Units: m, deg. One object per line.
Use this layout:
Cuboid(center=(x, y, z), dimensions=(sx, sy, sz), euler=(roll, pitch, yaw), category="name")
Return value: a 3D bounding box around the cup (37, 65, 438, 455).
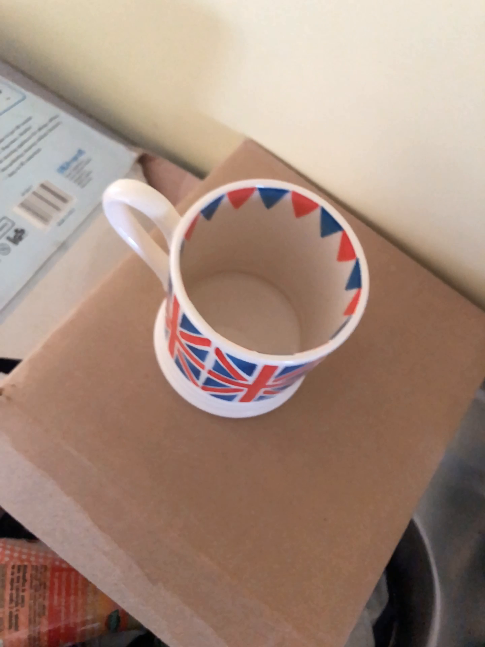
Cuboid(center=(-0.005, -0.025, 0.266), dimensions=(0.130, 0.100, 0.100), euler=(38, 67, 7), category="cup")
